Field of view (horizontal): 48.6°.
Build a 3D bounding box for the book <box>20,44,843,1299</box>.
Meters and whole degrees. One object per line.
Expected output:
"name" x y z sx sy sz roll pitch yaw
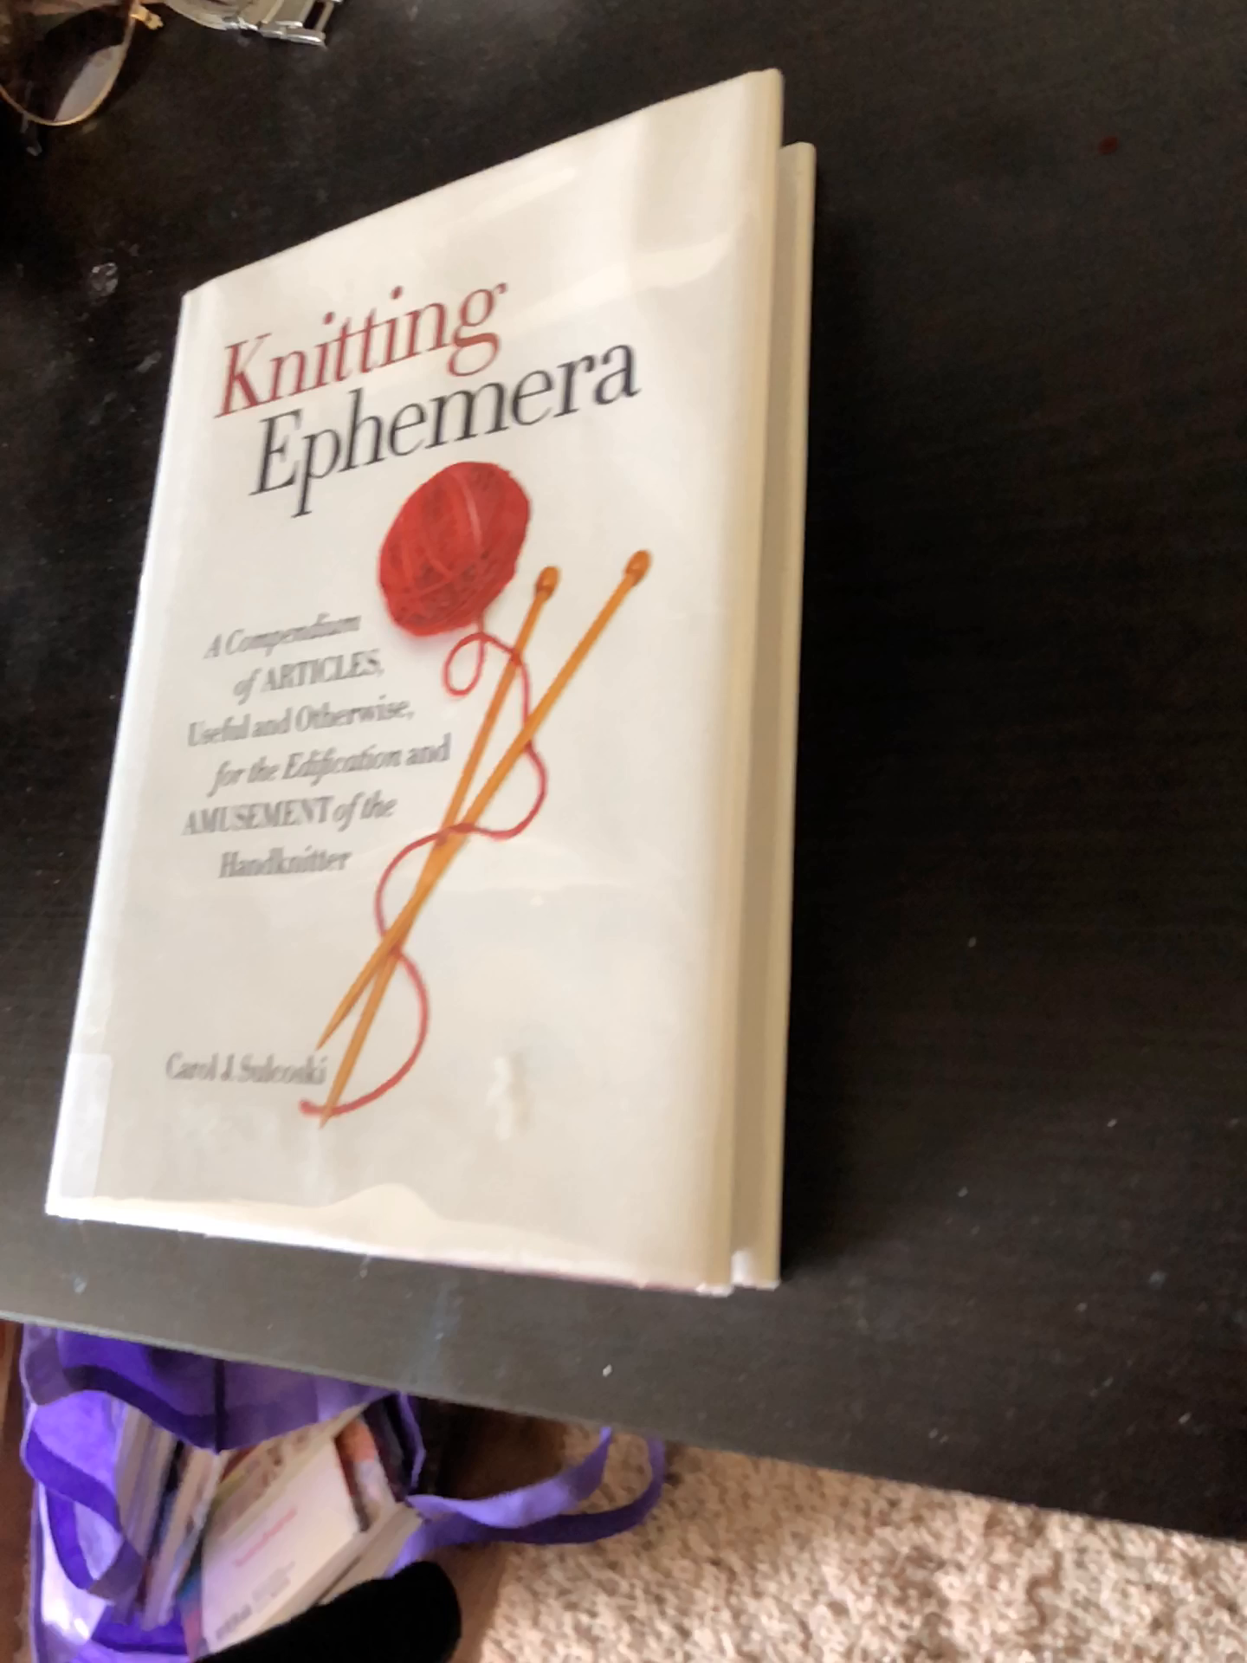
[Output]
"book" -0.033 -0.023 0.232 0.133 0.029 0.178 -4 75 31
